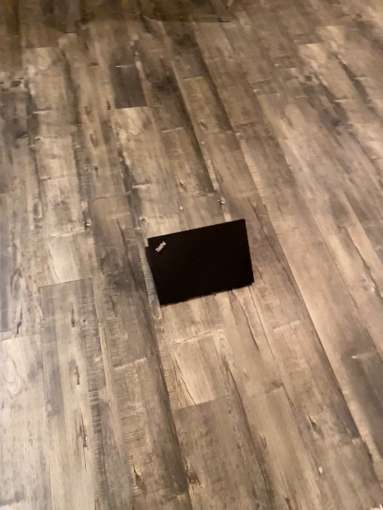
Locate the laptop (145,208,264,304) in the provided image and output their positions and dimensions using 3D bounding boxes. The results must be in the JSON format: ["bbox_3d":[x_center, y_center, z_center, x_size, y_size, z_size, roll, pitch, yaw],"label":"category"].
[{"bbox_3d":[0.033,0.000,1.244,0.315,0.124,0.219,-12,62,-12],"label":"laptop"}]
